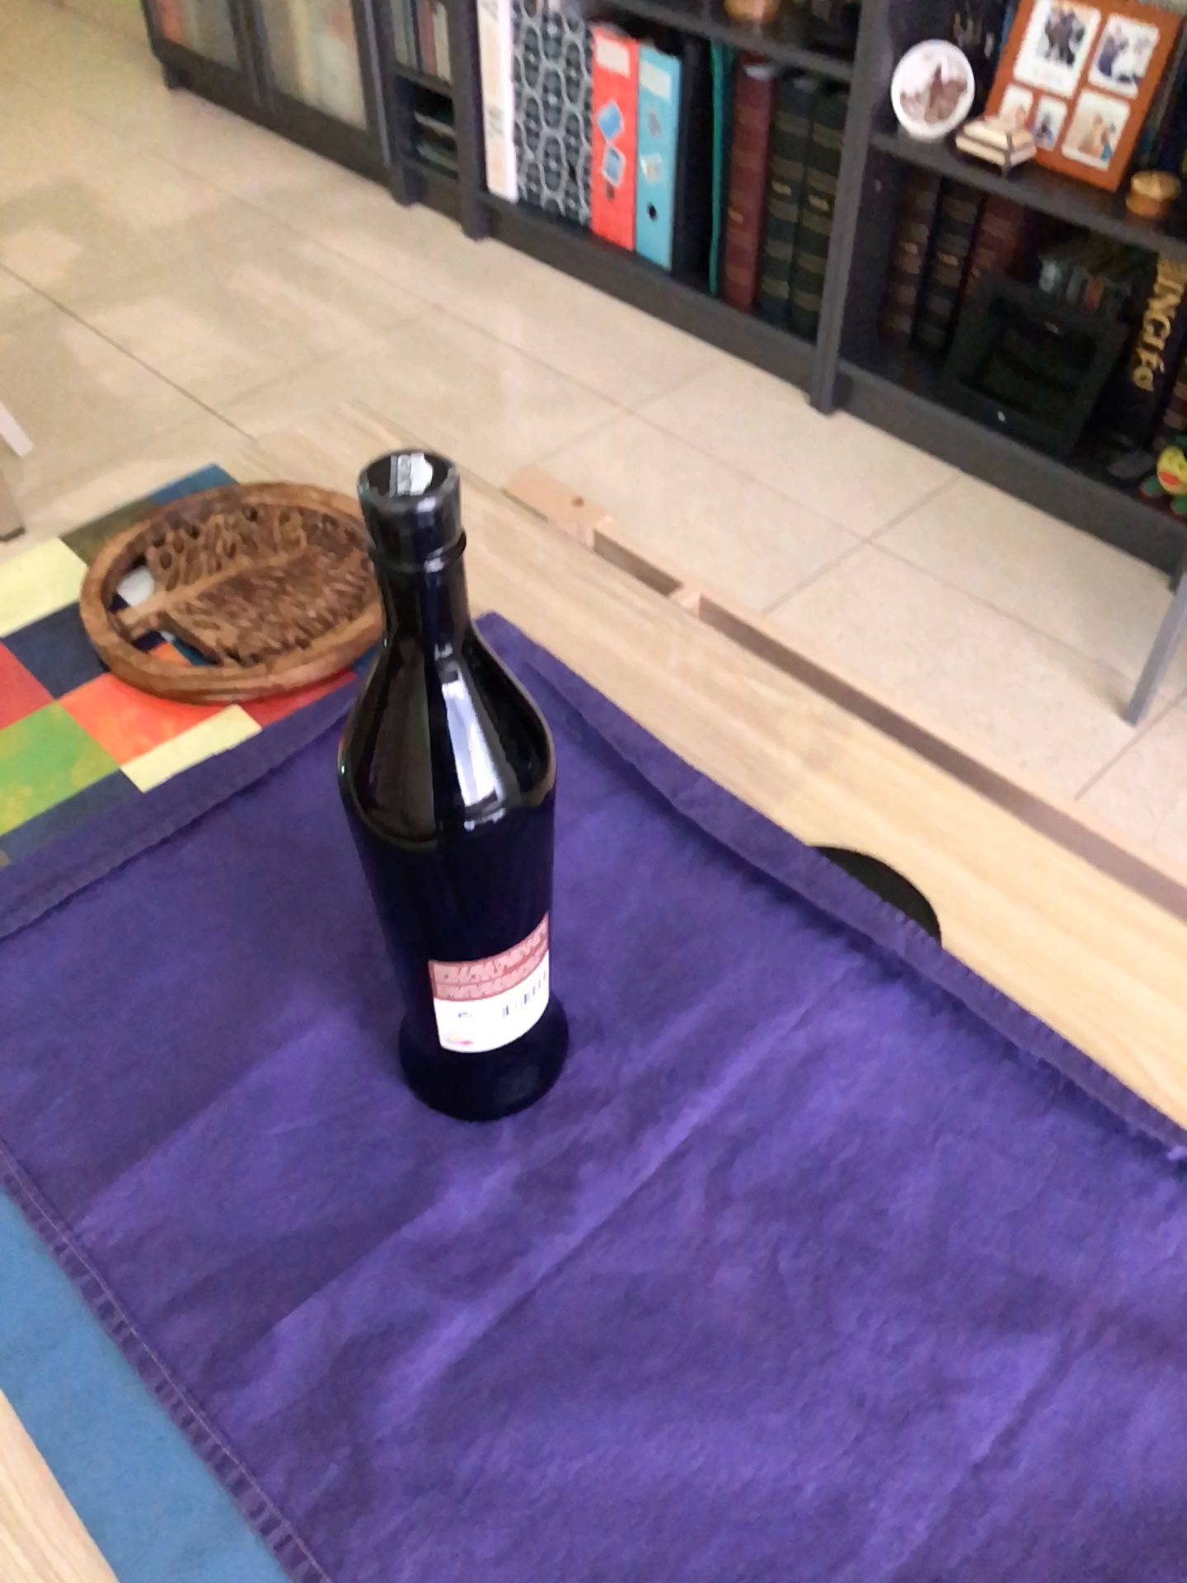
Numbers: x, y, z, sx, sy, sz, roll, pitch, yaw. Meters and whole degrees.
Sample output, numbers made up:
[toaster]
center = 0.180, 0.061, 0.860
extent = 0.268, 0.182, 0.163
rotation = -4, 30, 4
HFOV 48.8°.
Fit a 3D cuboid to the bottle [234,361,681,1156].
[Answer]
[bottle]
center = -0.041, 0.006, 0.477
extent = 0.100, 0.279, 0.100
rotation = 0, 47, 0
